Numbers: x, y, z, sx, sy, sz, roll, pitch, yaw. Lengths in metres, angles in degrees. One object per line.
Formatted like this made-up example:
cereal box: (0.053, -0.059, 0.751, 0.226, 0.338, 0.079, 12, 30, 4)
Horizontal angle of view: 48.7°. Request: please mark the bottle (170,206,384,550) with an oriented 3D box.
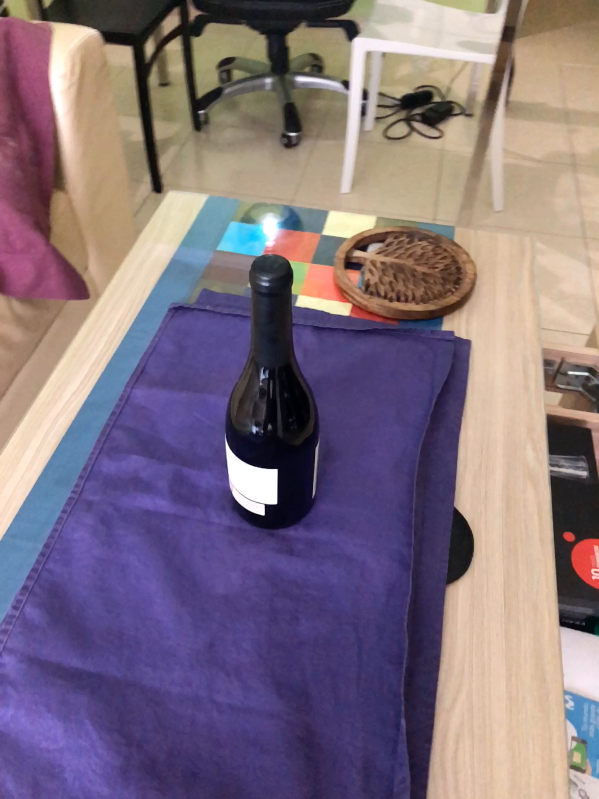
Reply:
bottle: (-0.017, -0.007, 0.555, 0.110, 0.259, 0.100, 1, 47, -1)
